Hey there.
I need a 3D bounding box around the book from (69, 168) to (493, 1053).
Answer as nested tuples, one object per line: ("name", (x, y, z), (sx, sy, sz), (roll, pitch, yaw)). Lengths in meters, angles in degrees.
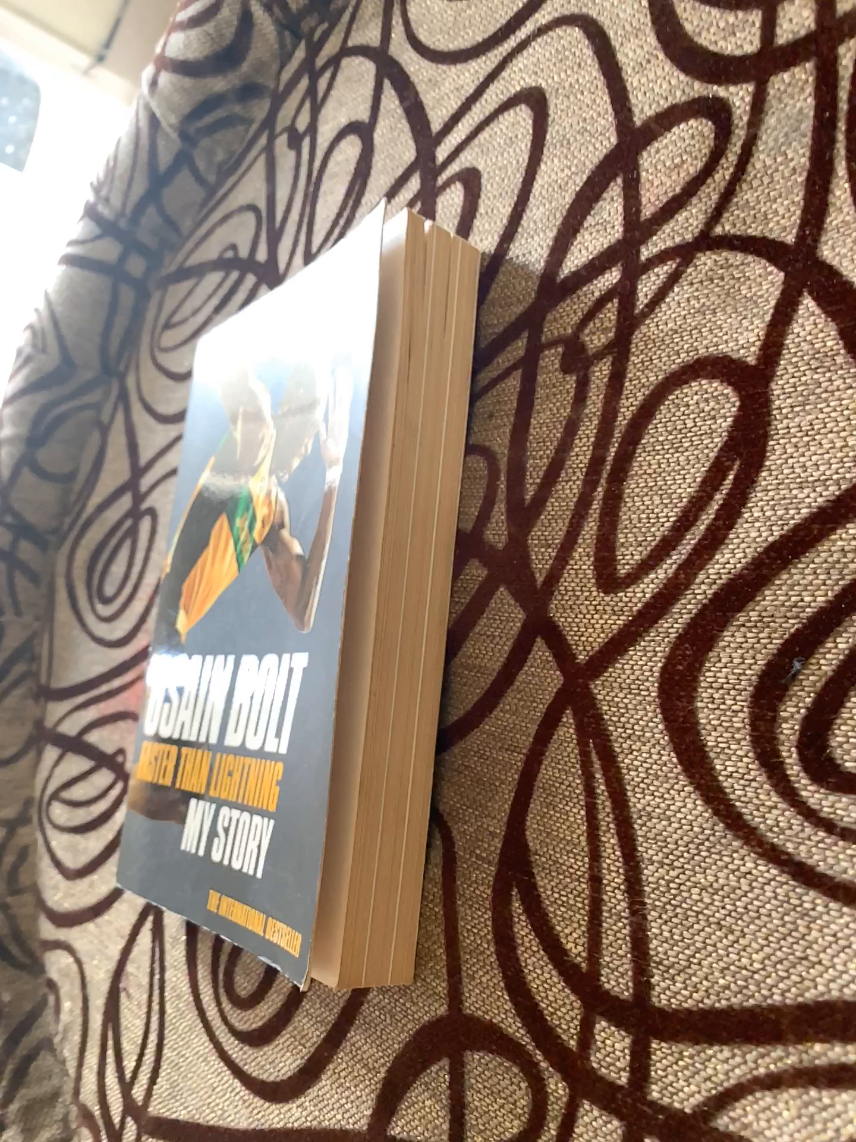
("book", (-0.050, 0.008, 0.263), (0.141, 0.030, 0.200), (-7, 73, 51))
